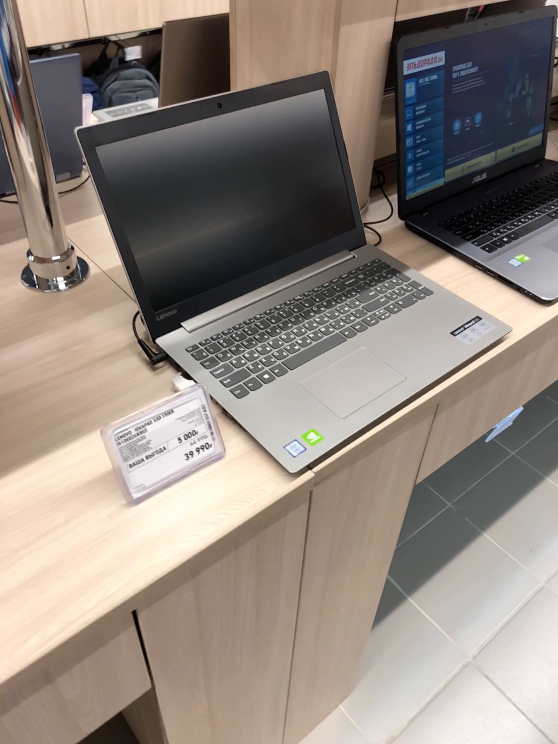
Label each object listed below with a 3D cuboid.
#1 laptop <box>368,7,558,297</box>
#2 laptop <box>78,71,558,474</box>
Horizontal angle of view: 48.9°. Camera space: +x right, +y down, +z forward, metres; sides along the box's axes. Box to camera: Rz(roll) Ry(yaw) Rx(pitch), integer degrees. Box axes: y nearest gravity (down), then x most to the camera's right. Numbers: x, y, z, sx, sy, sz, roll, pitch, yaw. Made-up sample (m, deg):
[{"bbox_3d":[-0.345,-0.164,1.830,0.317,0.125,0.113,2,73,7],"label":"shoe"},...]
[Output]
[{"bbox_3d":[0.419,-0.362,0.940,0.404,0.246,0.334,-28,51,-30],"label":"laptop"},{"bbox_3d":[0.041,-0.156,0.710,0.371,0.208,0.366,-28,51,-30],"label":"laptop"}]
